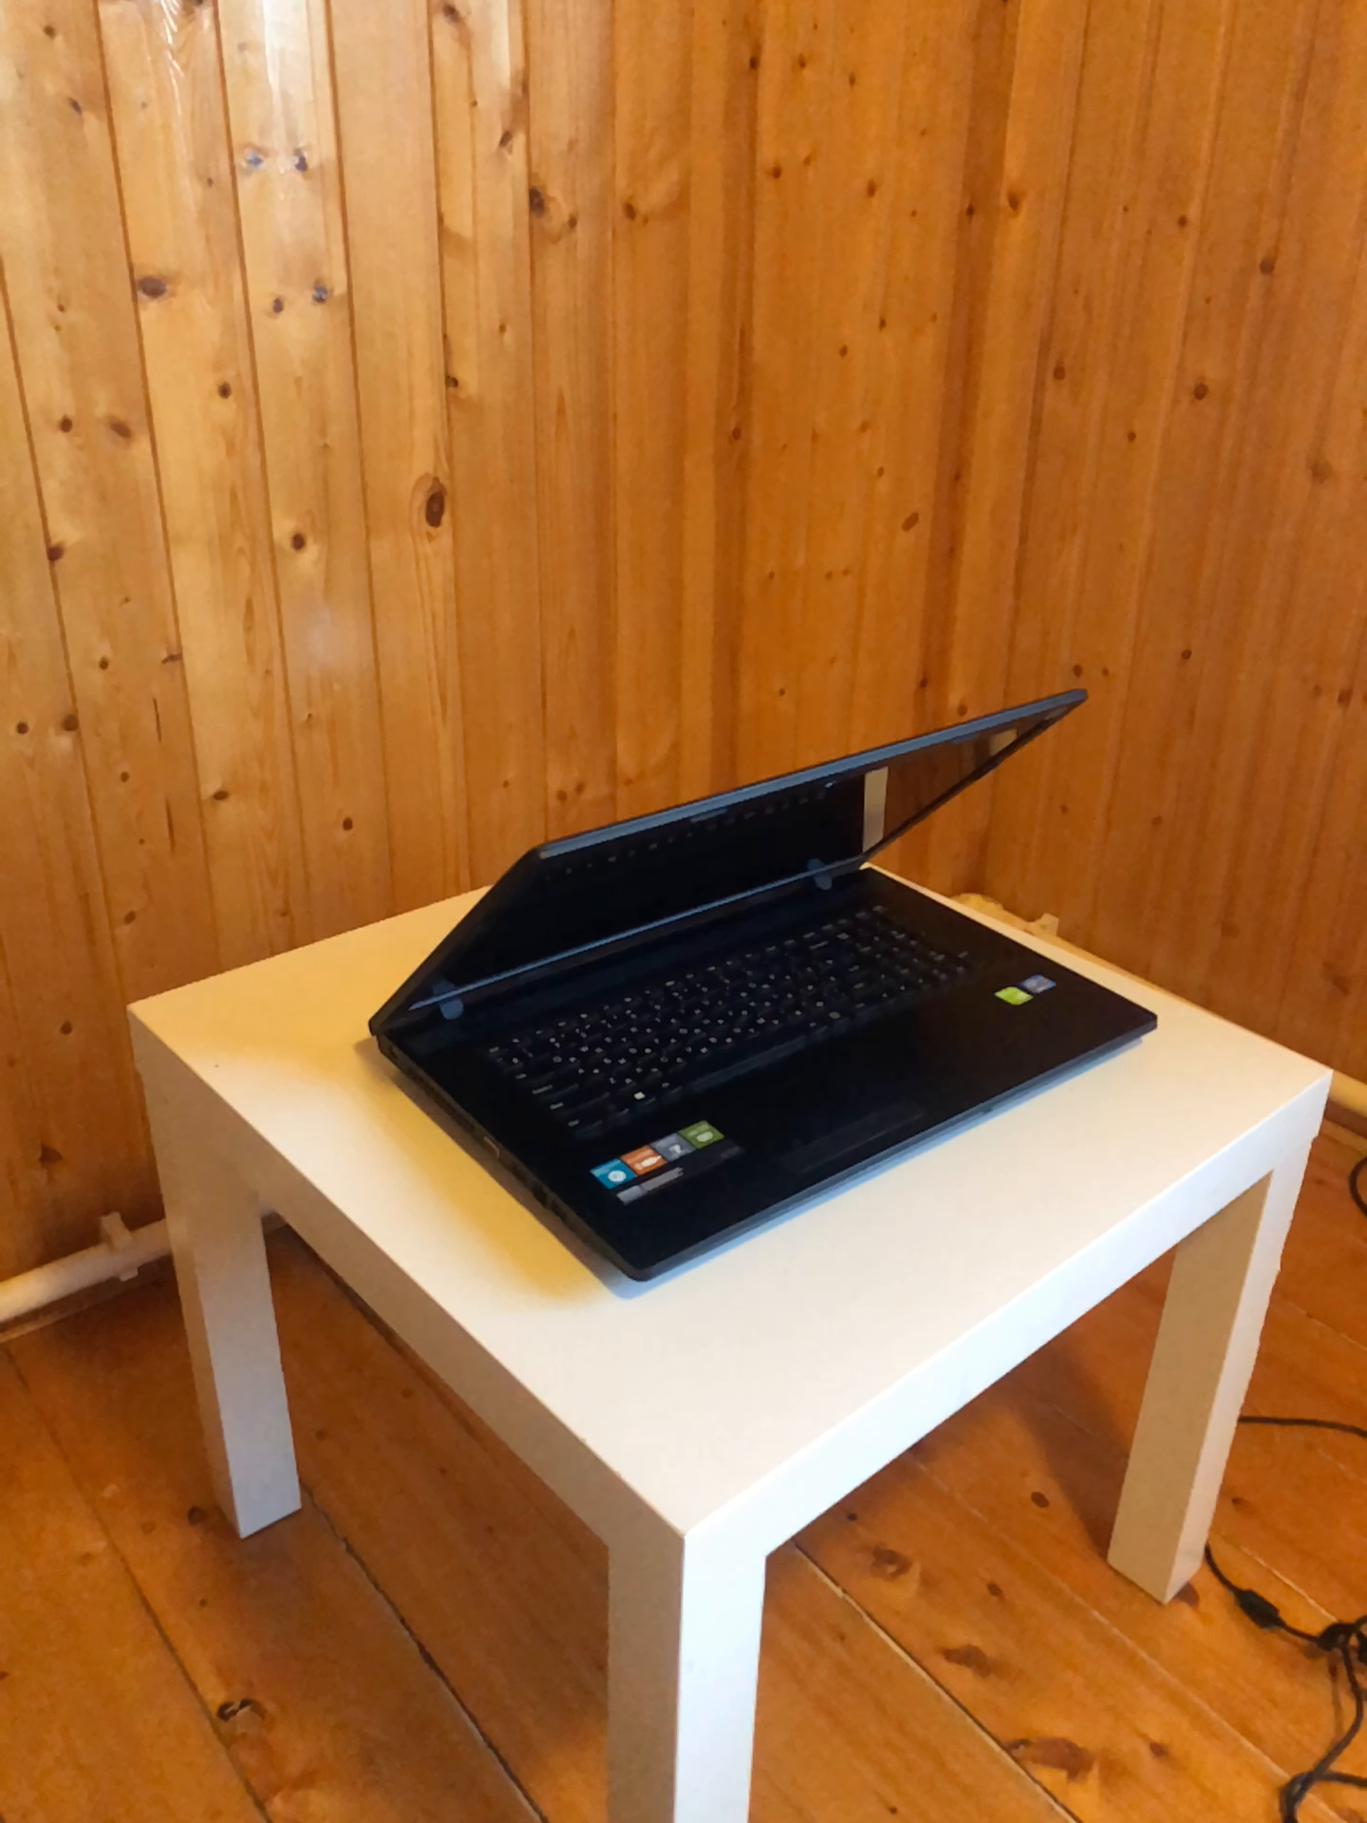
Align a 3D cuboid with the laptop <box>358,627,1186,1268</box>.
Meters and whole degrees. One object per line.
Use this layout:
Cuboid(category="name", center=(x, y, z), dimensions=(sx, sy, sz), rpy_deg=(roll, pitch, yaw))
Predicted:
Cuboid(category="laptop", center=(0.056, -0.015, 0.865), dimensions=(0.402, 0.183, 0.252), rpy_deg=(-18, 33, -36))
